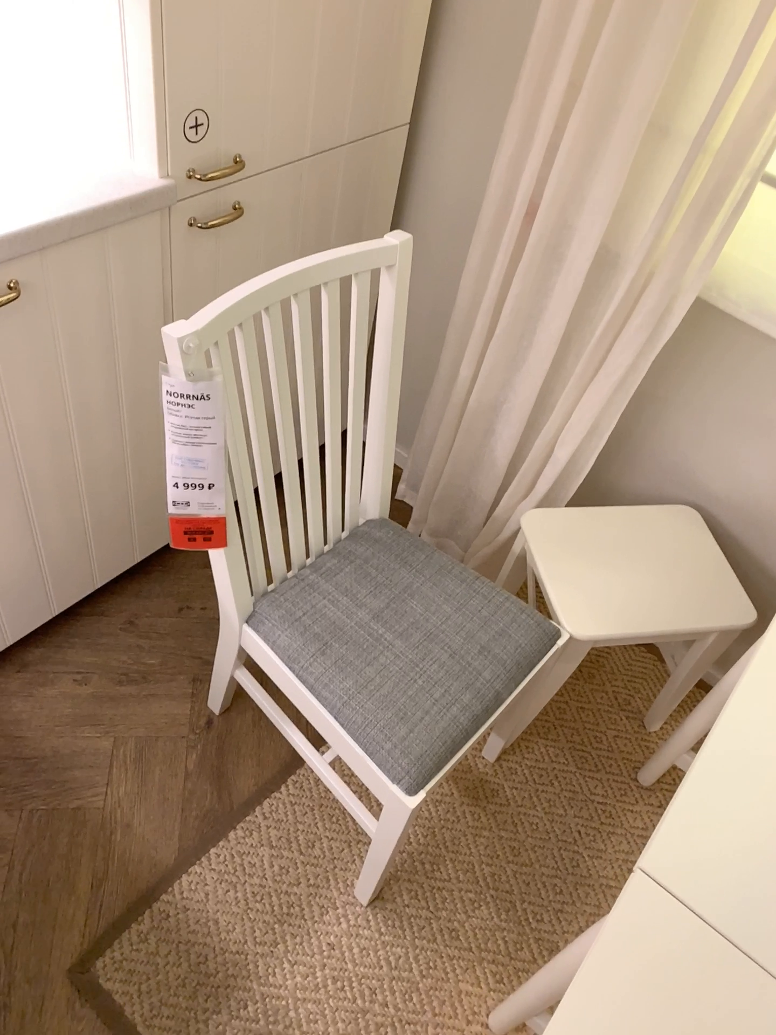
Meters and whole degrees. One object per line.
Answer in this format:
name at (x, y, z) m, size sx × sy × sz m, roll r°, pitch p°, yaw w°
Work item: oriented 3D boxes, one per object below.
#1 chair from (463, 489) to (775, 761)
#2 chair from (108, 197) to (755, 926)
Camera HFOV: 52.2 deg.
chair at (0.471, 0.222, 1.683) m, size 0.460 × 0.388 × 0.402 m, roll -1°, pitch 49°, yaw -14°
chair at (-0.003, 0.104, 1.328) m, size 0.621 × 0.915 × 0.552 m, roll 38°, pitch 51°, yaw 20°
